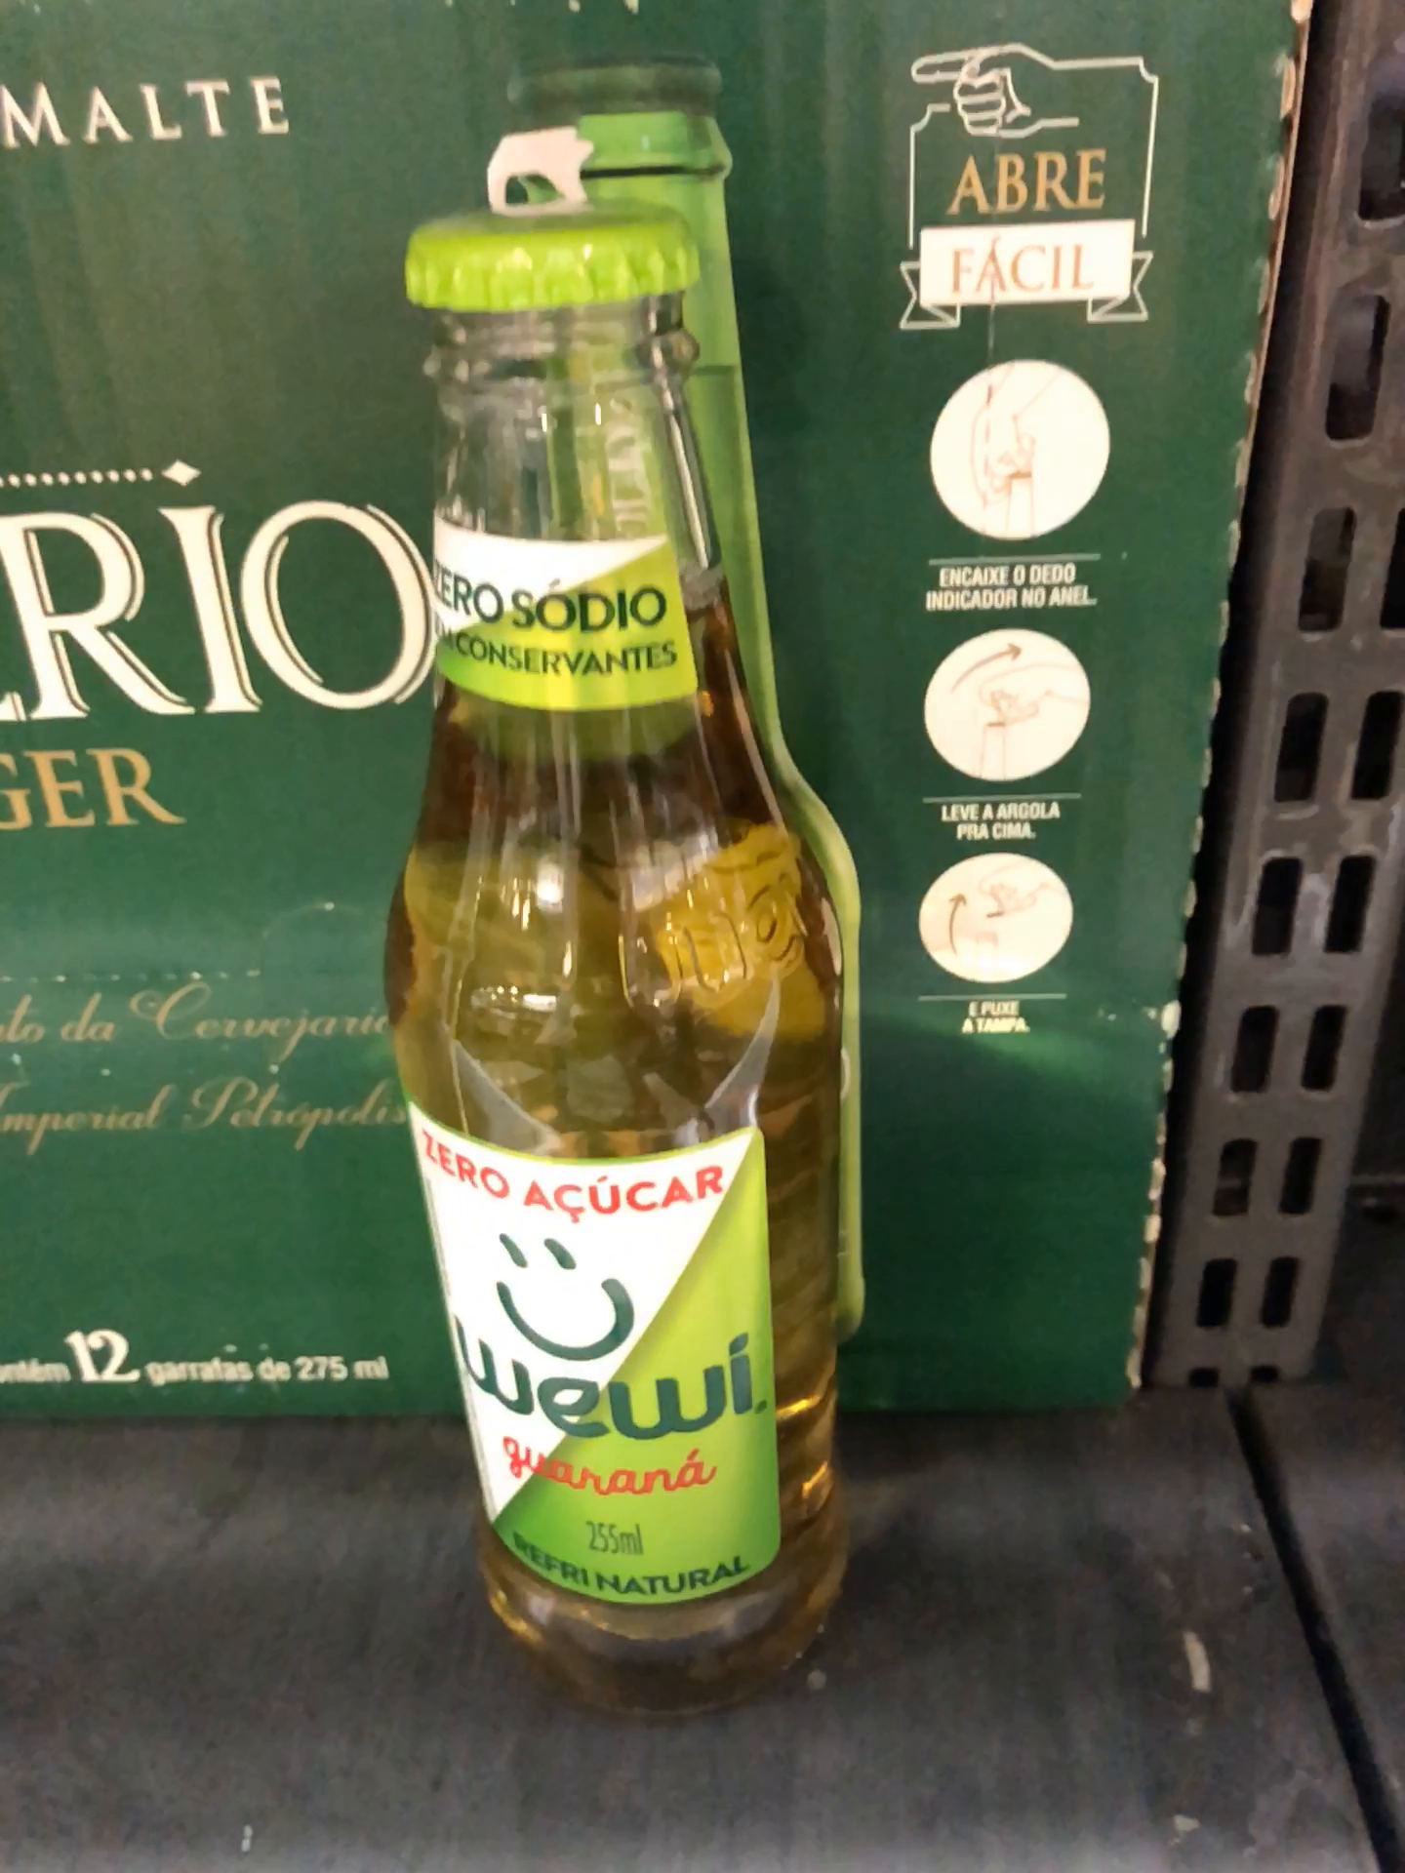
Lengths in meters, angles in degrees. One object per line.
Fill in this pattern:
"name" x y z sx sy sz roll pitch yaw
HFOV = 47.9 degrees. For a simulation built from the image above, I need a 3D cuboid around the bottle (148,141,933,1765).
"bottle" -0.007 0.014 0.198 0.060 0.199 0.050 5 32 14
